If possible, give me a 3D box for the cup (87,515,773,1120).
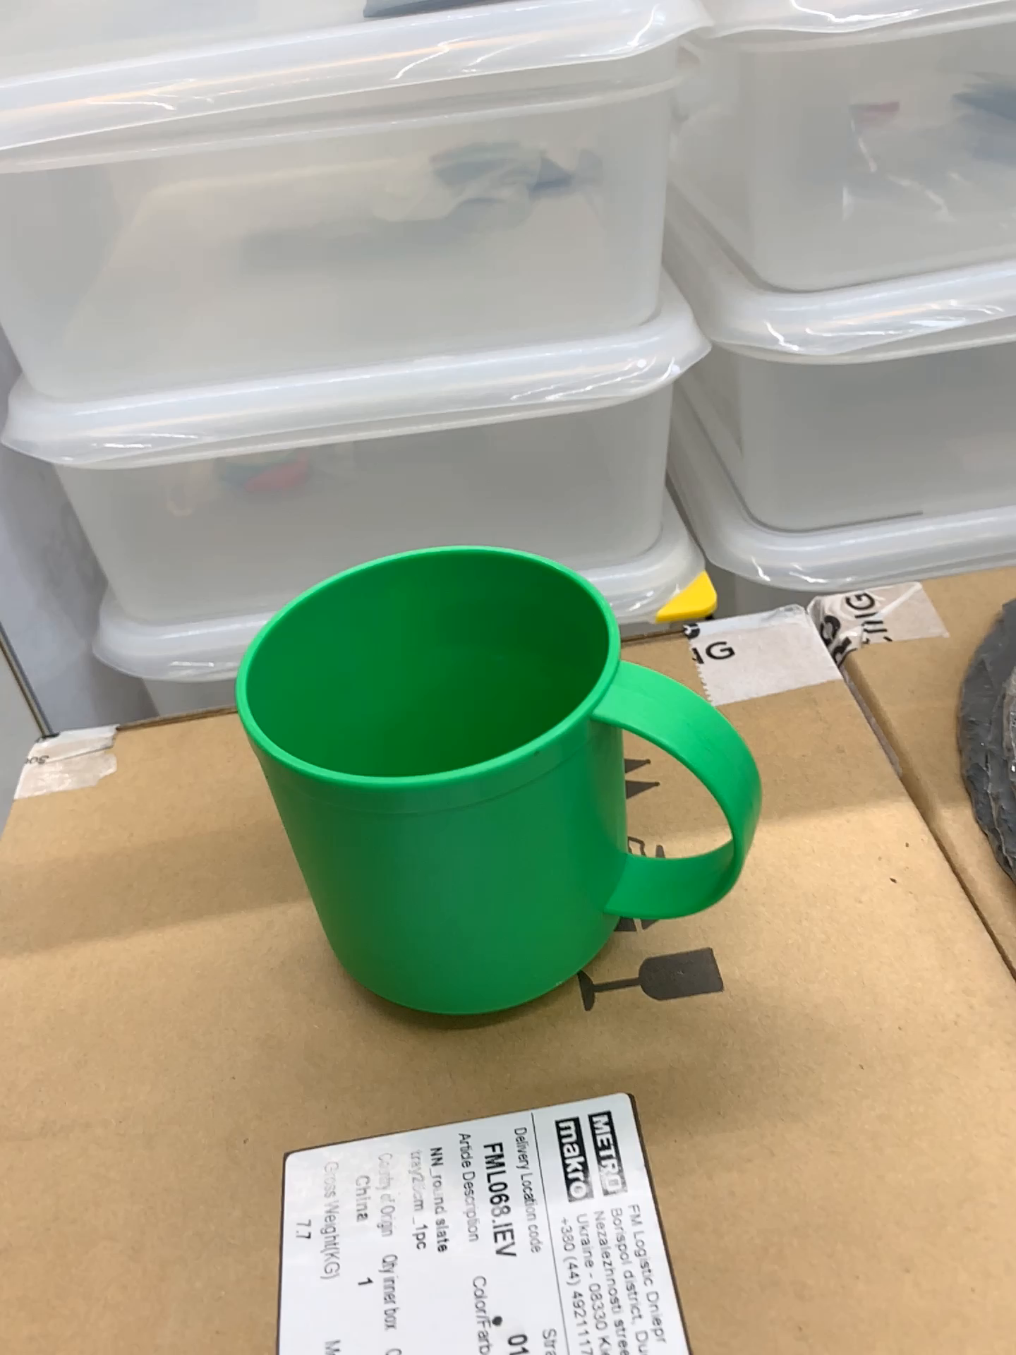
[{"bbox_3d":[-0.008,0.021,0.215,0.105,0.069,0.076,10,42,23],"label":"cup"}]
